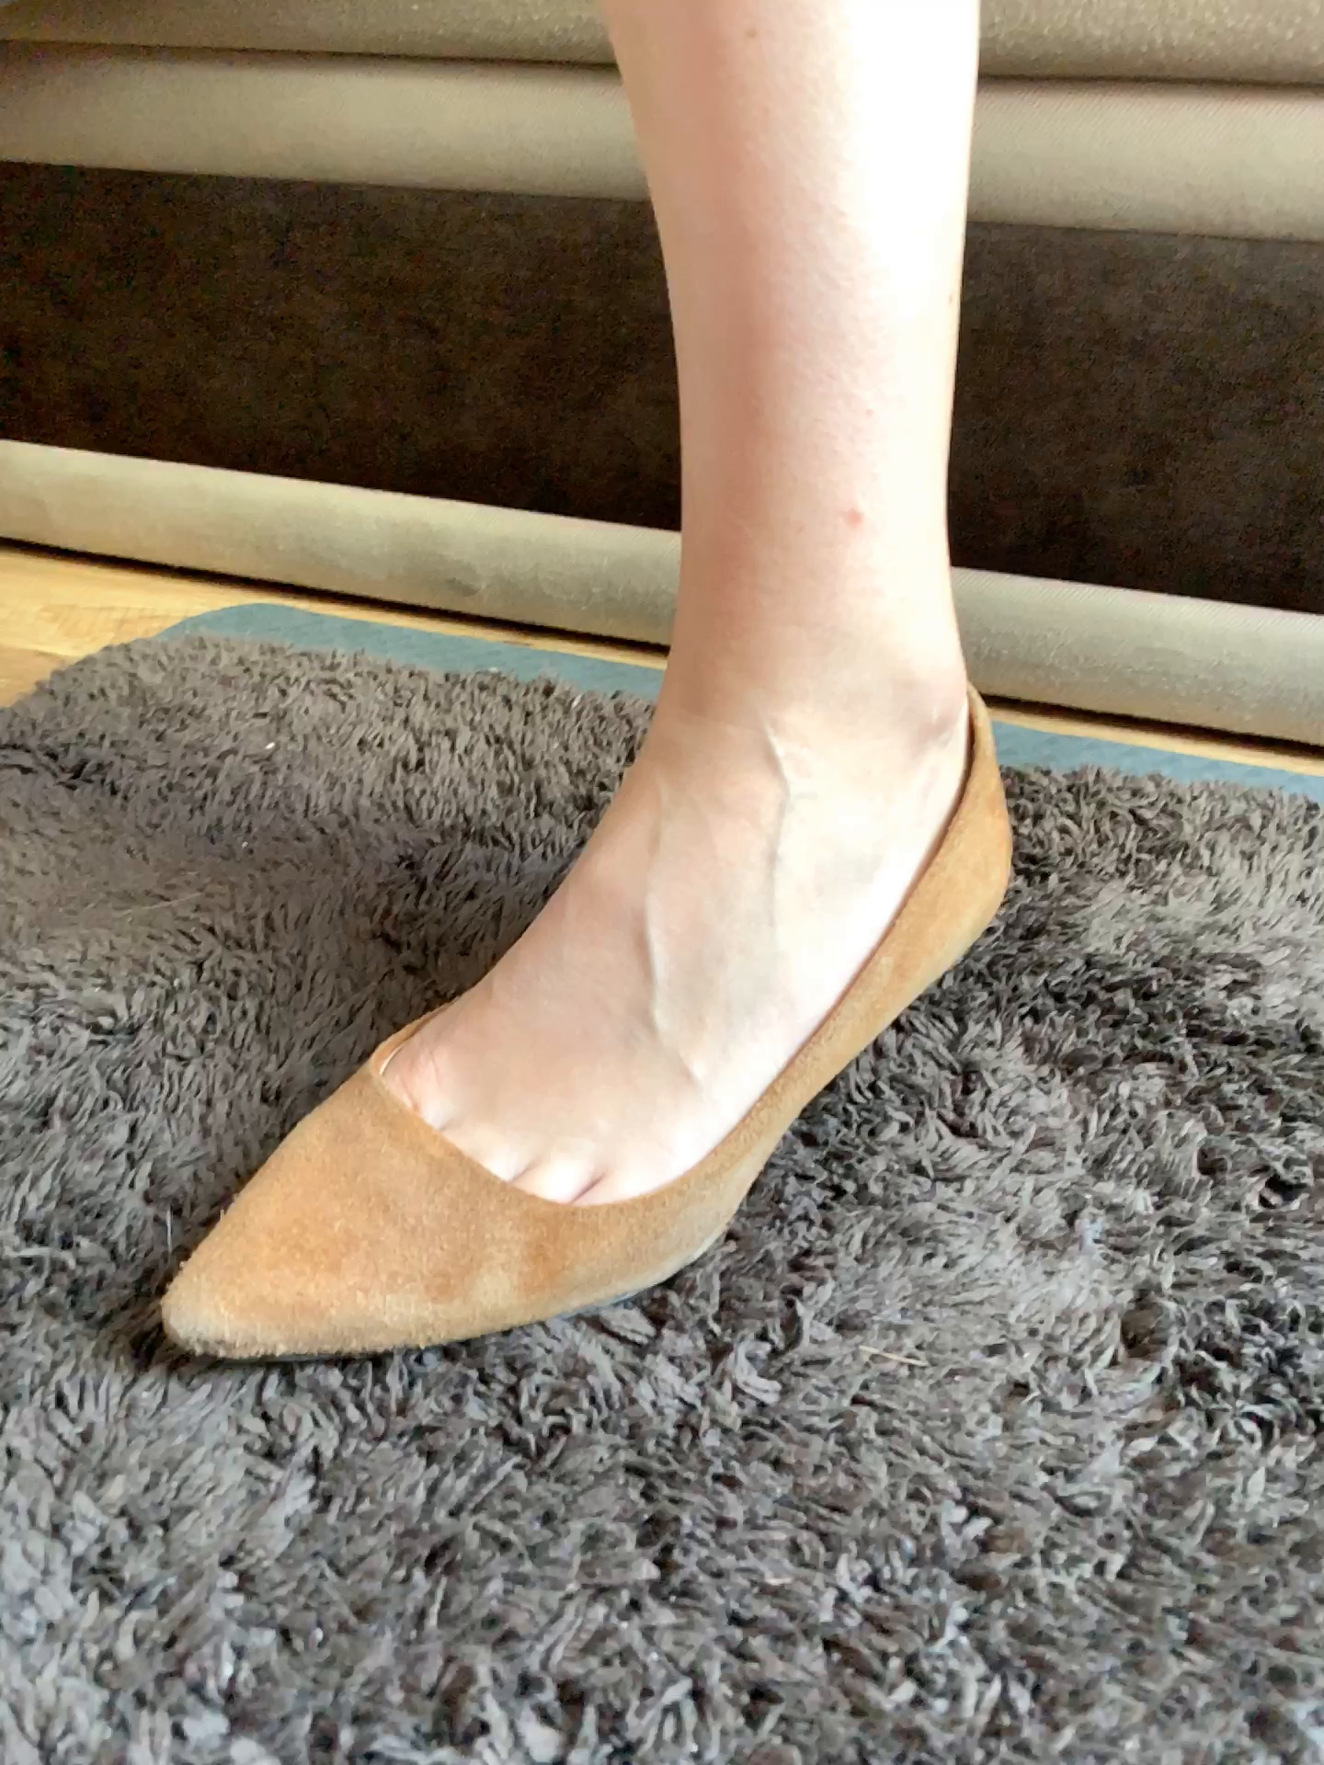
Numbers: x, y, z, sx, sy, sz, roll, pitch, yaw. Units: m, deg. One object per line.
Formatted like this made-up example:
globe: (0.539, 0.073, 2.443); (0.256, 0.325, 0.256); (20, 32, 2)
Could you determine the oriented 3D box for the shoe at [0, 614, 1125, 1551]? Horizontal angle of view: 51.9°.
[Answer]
shoe: (-0.010, 0.019, 0.312); (0.251, 0.080, 0.090); (-25, 41, -35)
